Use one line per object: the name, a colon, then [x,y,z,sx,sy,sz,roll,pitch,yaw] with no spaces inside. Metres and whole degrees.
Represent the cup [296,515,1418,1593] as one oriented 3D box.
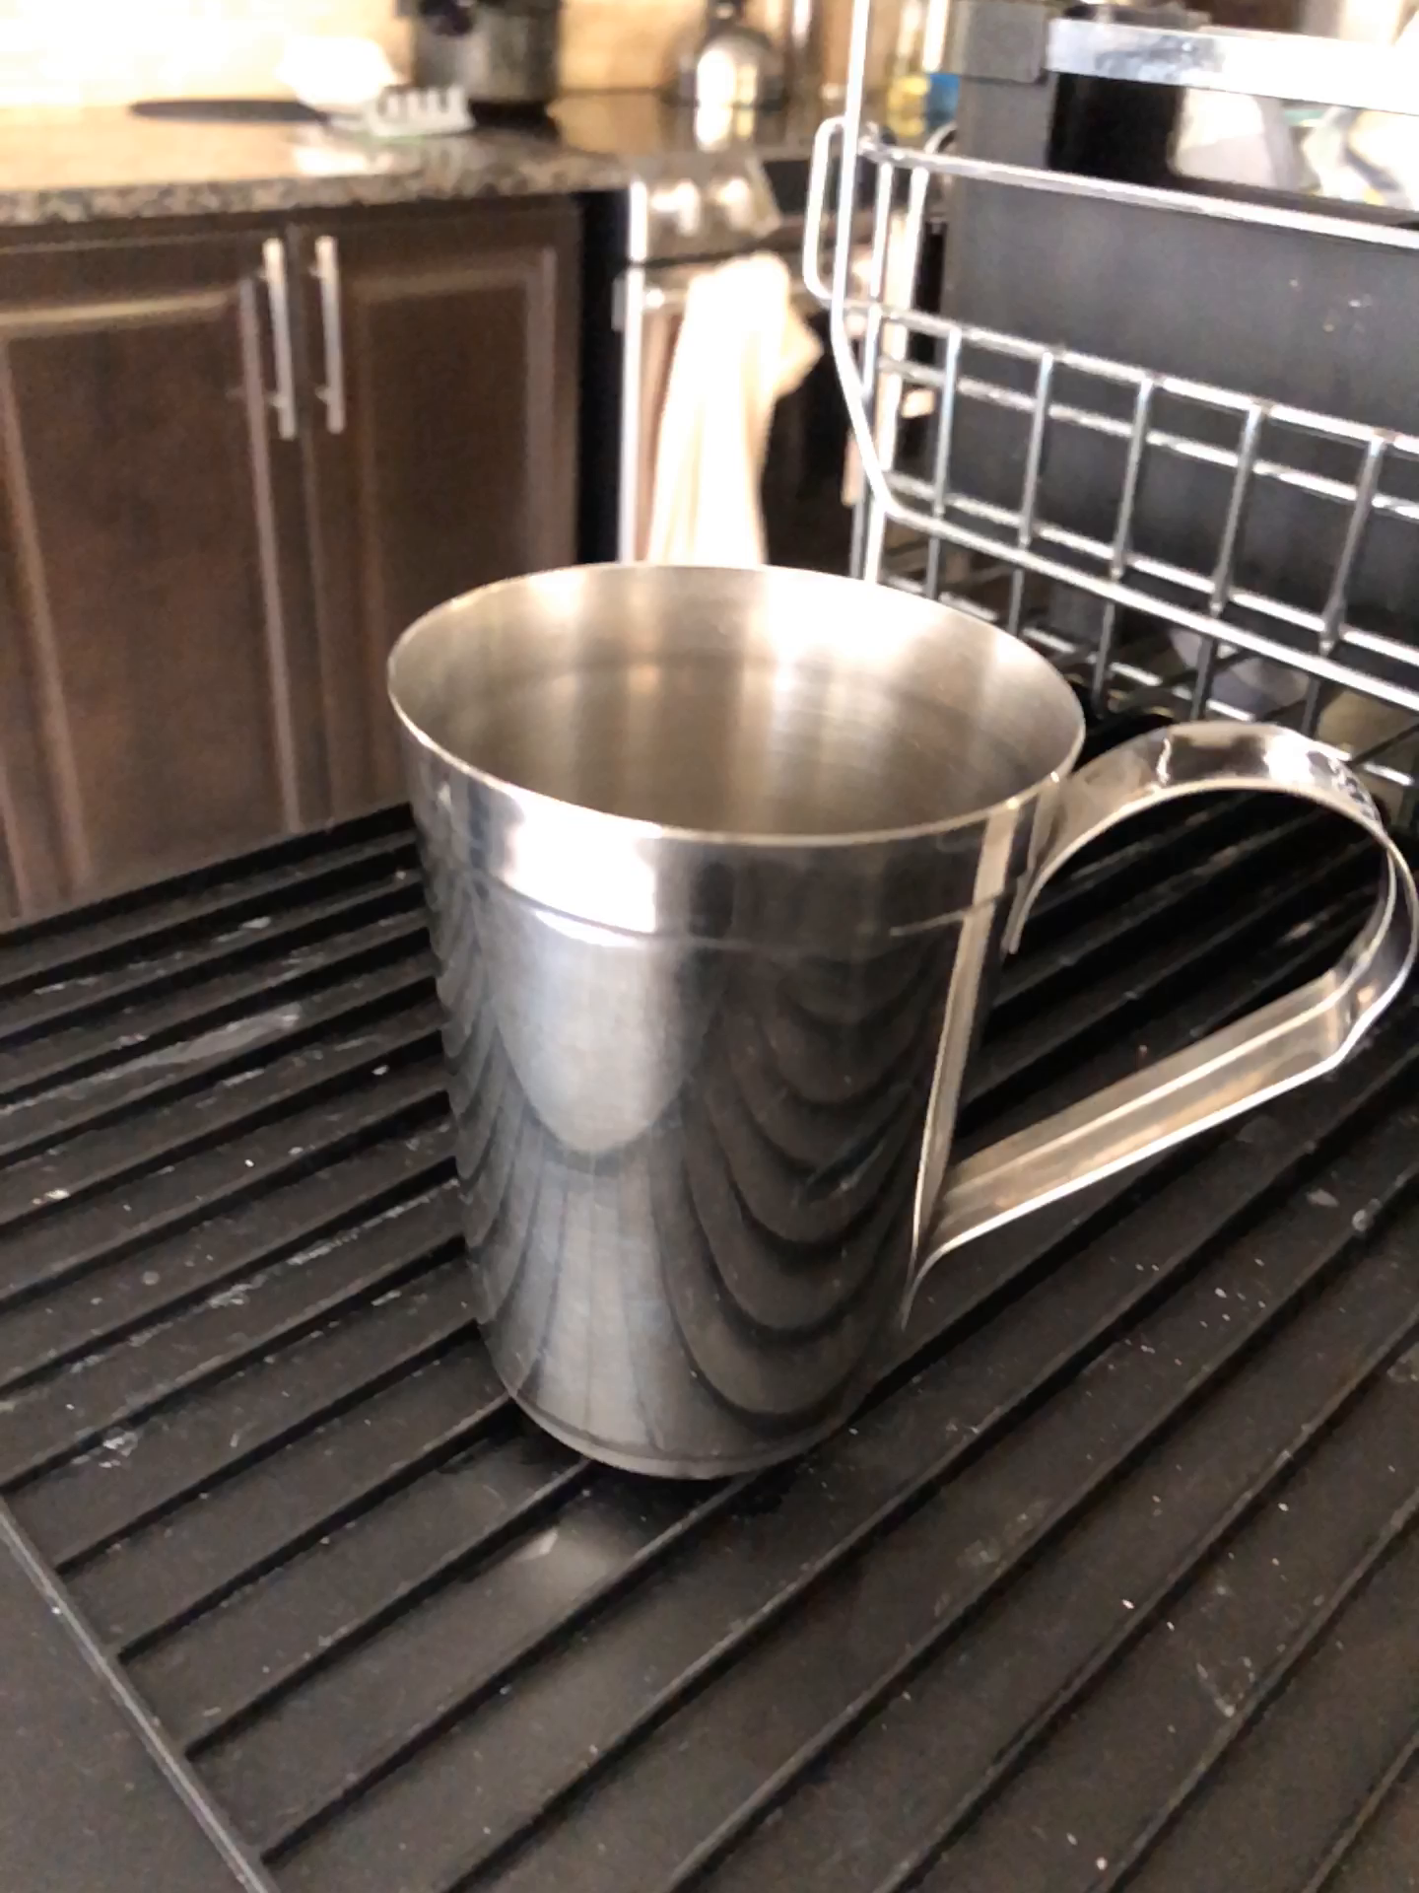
cup: [0.019,0.012,0.185,0.110,0.097,0.065,4,32,1]
